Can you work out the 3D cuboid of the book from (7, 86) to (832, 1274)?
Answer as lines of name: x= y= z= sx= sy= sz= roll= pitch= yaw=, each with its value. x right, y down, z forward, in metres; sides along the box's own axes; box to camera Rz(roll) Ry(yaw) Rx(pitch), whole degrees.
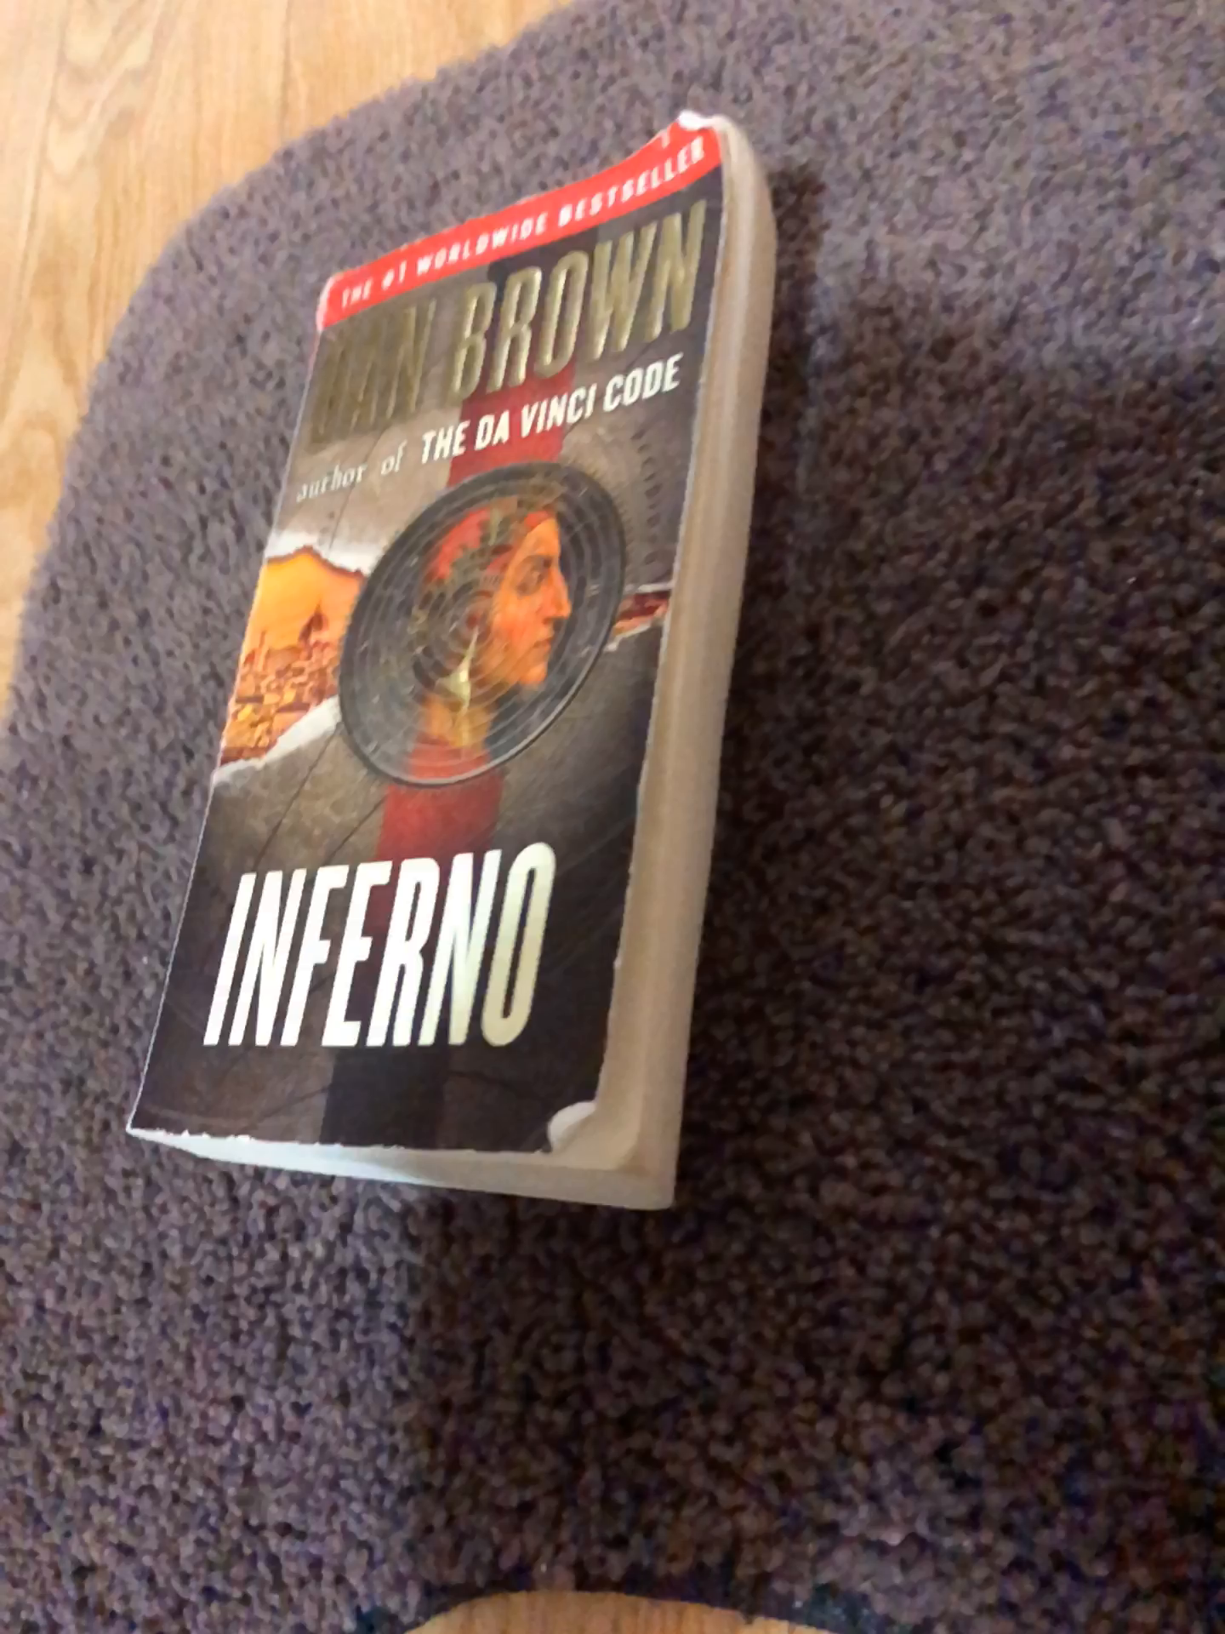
book: x=-0.031 y=-0.025 z=0.264 sx=0.120 sy=0.050 sz=0.200 roll=-4 pitch=68 yaw=31
